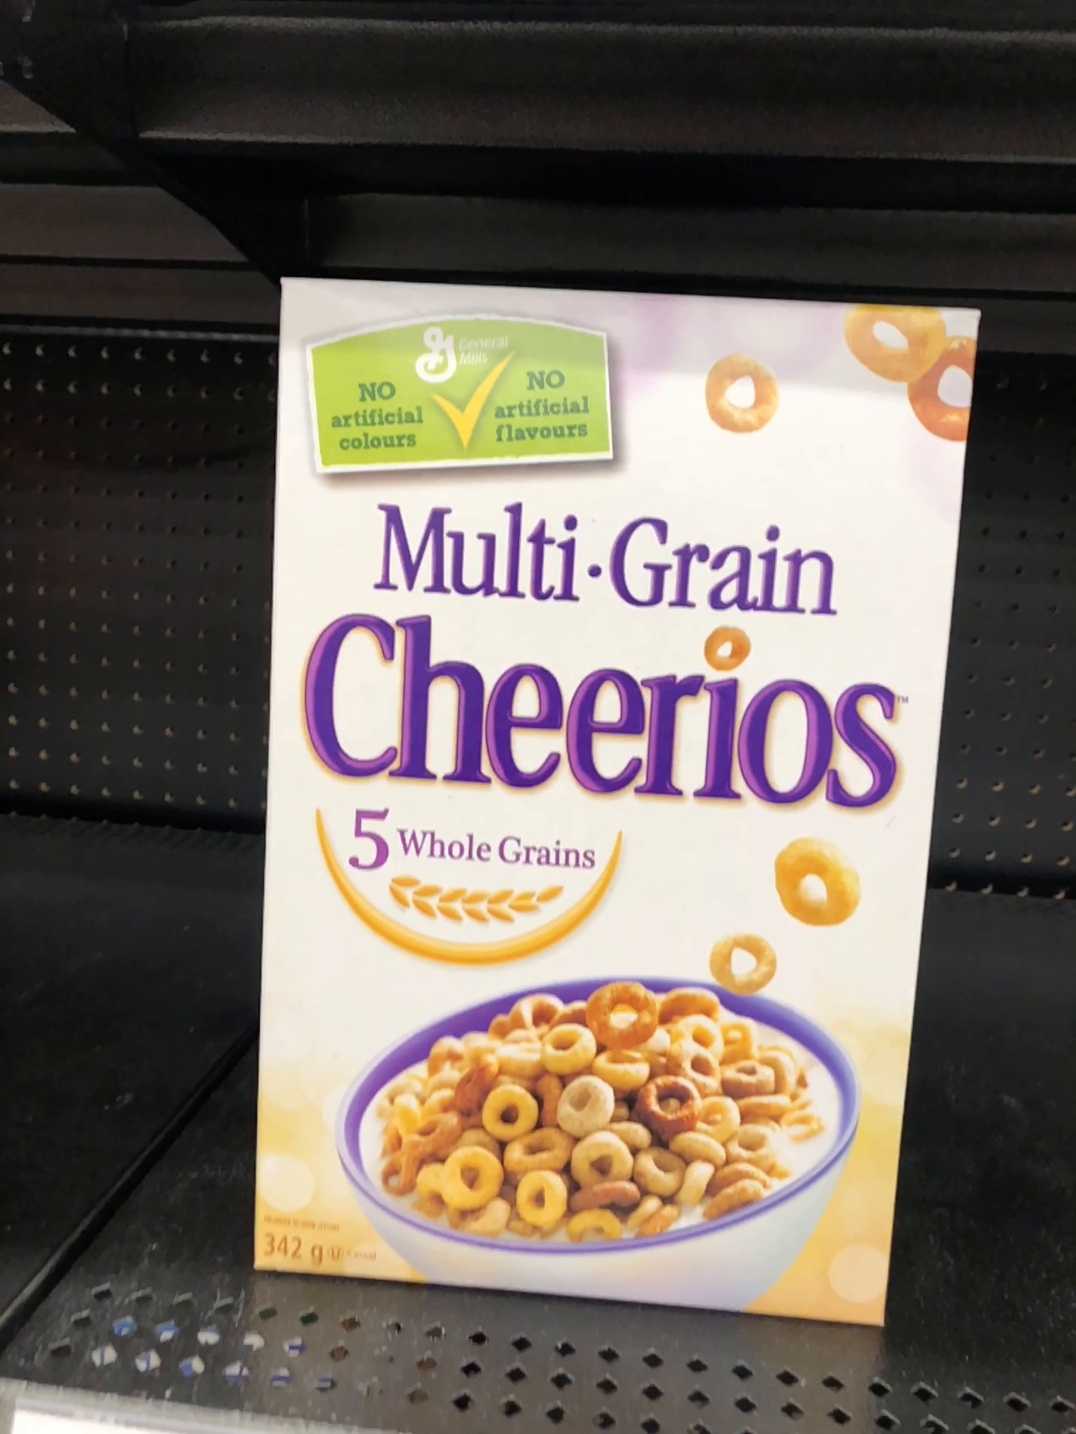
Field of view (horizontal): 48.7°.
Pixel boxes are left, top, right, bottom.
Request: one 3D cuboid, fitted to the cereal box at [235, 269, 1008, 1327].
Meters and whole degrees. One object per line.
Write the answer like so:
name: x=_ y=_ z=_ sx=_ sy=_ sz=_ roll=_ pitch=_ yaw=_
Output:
cereal box: x=0.018 y=0.023 z=0.367 sx=0.200 sy=0.289 sz=0.070 roll=3 pitch=8 yaw=4
